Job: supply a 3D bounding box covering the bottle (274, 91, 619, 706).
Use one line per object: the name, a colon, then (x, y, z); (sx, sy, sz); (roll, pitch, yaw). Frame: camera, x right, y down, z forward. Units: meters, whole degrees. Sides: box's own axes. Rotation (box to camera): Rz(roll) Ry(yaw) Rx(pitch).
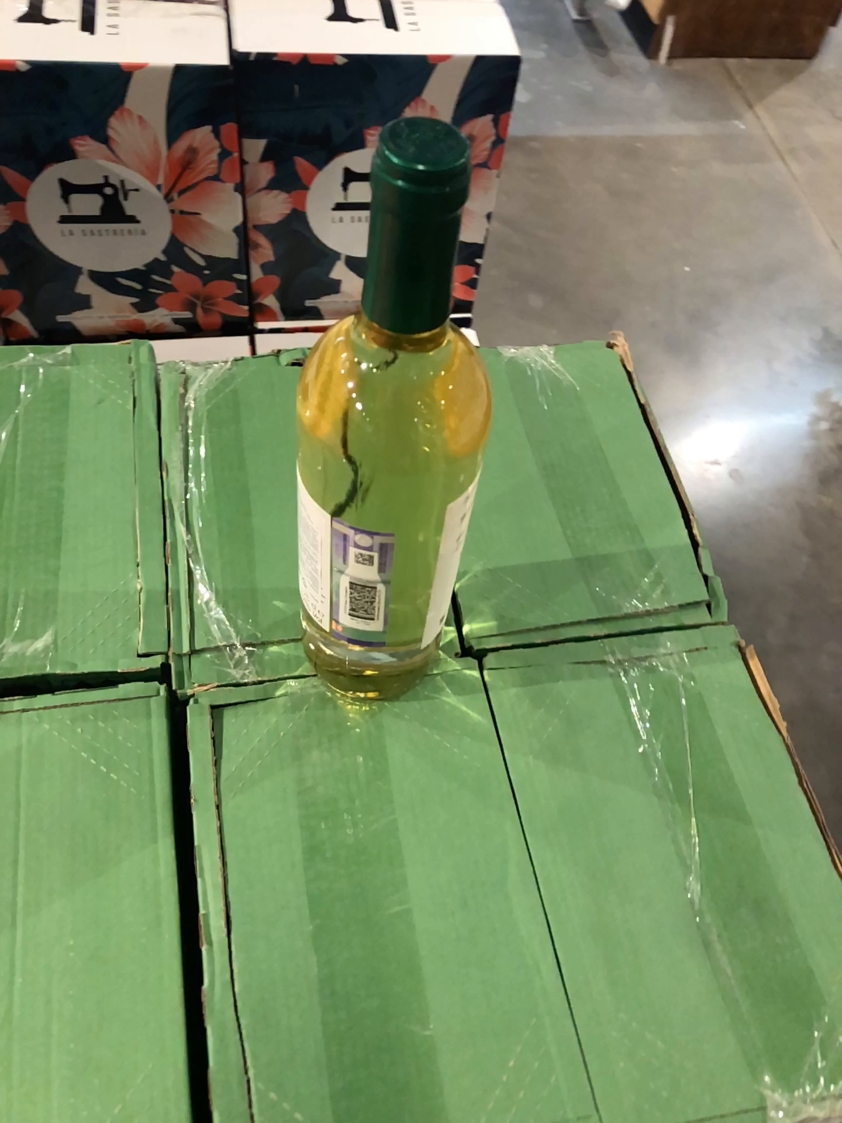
bottle: (-0.009, -0.040, 0.374); (0.084, 0.262, 0.080); (3, 56, -5)
